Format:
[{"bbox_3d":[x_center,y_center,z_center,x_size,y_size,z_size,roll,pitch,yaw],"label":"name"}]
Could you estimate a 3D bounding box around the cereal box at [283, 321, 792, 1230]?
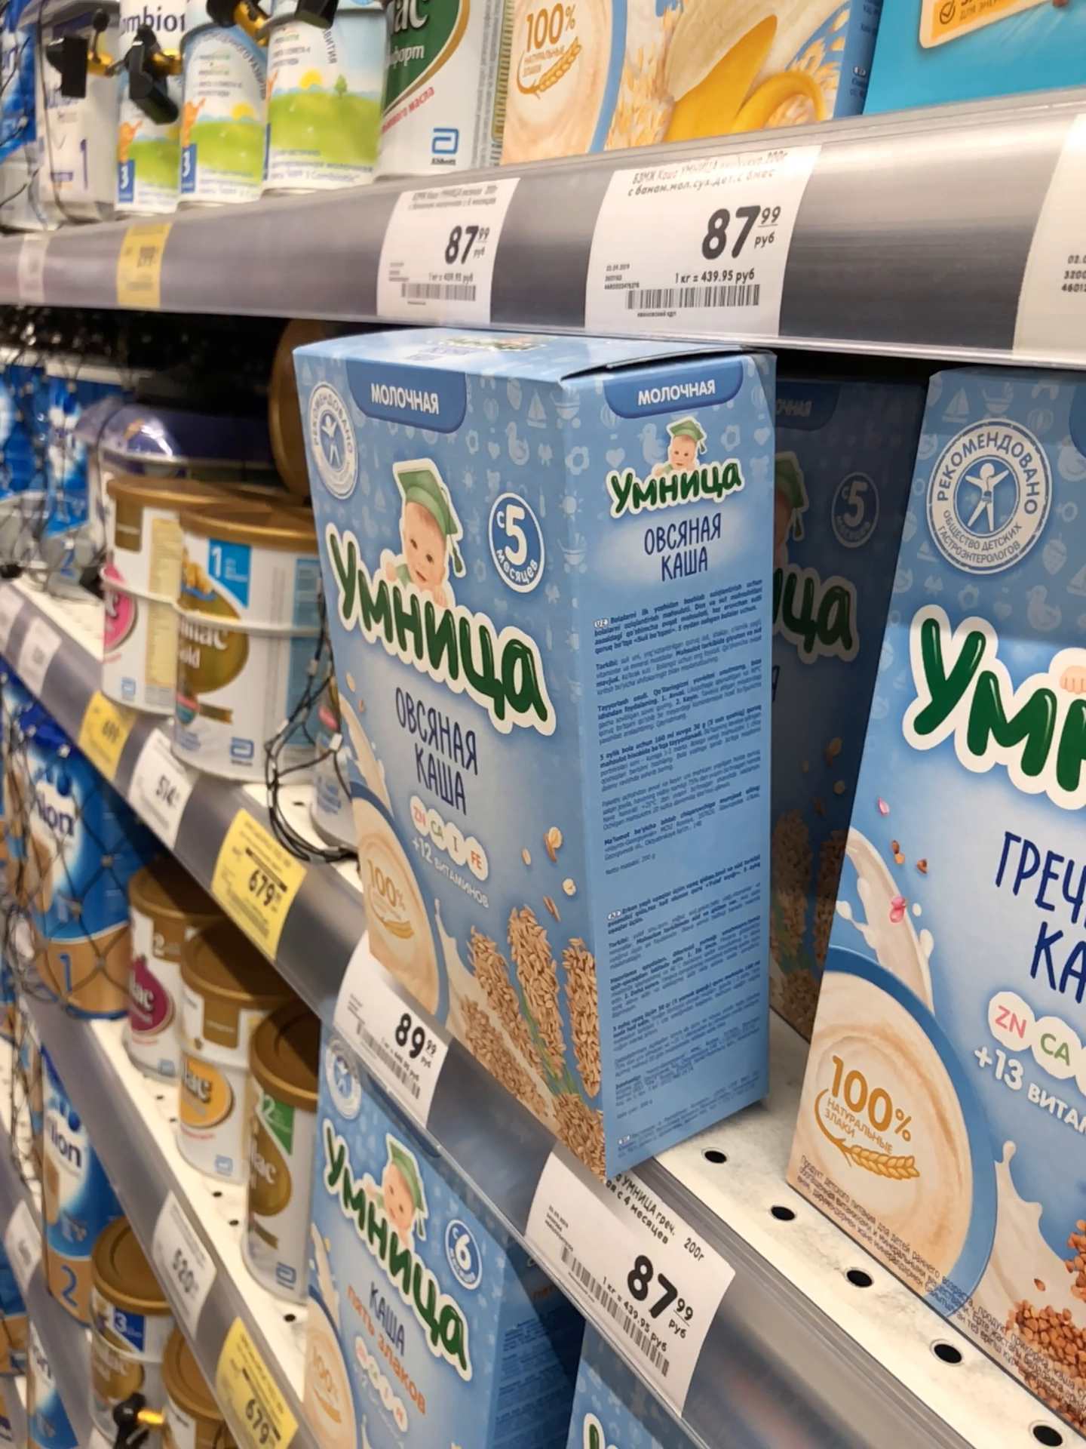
[{"bbox_3d":[-0.002,0.002,0.335,0.060,0.209,0.140,-17,24,-28],"label":"cereal box"}]
